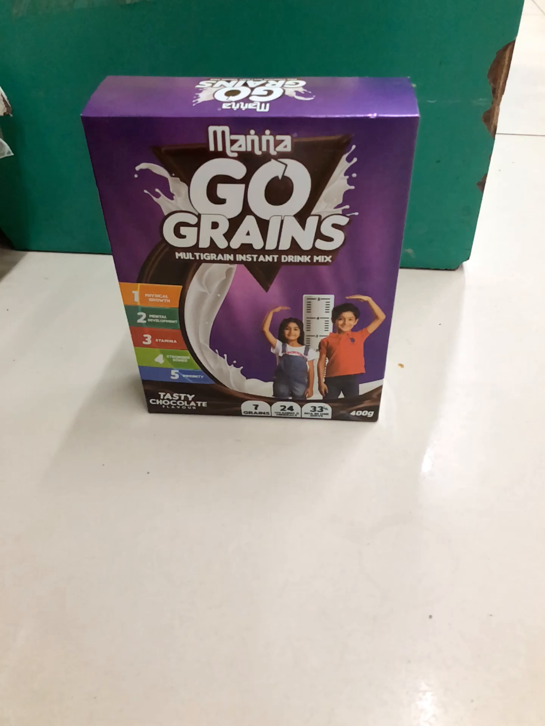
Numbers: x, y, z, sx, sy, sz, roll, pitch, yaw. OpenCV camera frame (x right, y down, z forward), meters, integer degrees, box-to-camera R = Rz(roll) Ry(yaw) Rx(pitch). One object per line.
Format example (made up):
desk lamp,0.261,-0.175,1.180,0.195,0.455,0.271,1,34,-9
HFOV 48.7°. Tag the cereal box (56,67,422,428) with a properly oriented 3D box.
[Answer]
cereal box,-0.012,-0.051,0.325,0.150,0.189,0.050,1,39,3
